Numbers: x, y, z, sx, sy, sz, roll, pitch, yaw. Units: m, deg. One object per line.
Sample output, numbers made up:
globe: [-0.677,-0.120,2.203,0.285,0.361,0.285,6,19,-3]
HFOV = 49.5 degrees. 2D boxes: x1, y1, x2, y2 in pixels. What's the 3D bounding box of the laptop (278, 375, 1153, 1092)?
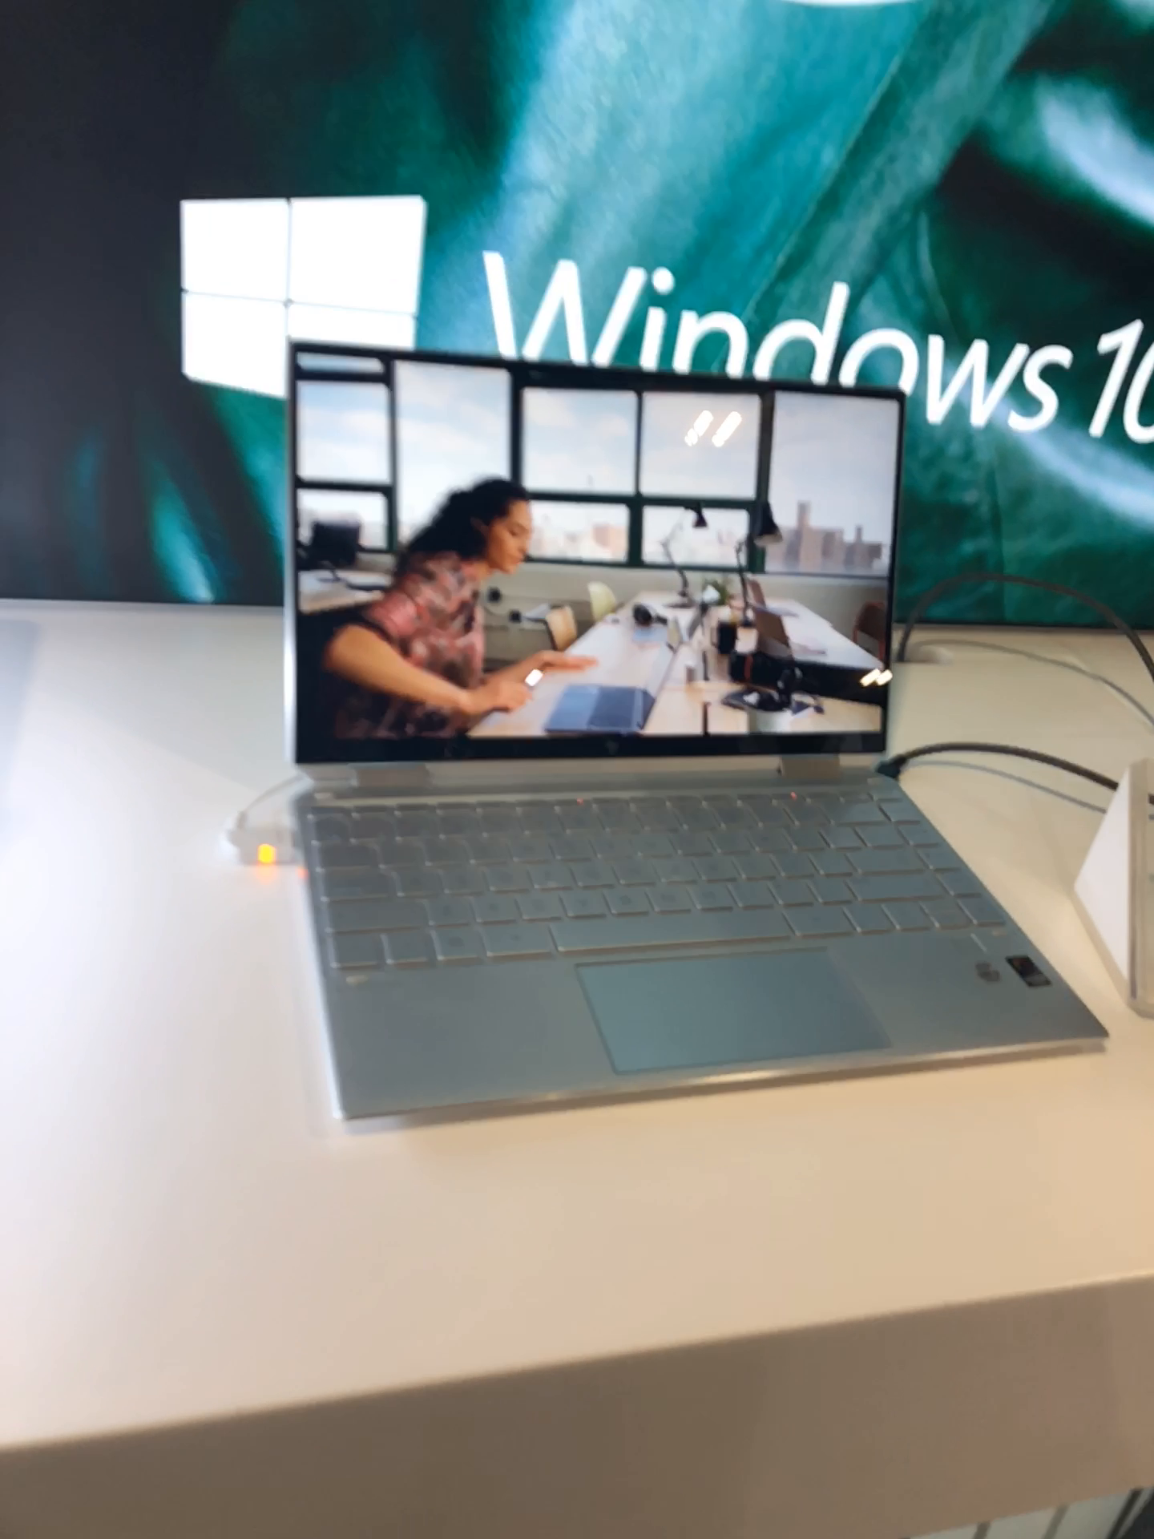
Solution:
laptop: [0.042,-0.028,0.487,0.281,0.194,0.240,-1,27,-19]
